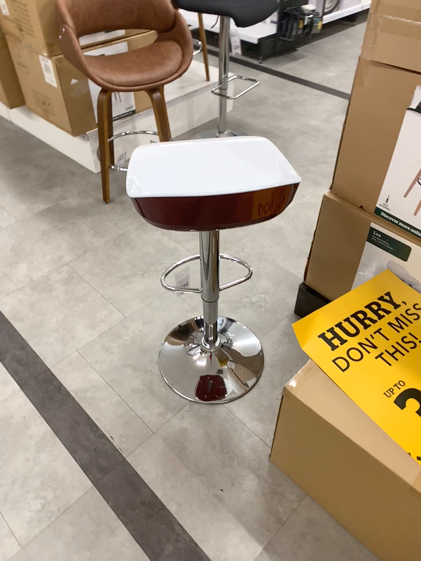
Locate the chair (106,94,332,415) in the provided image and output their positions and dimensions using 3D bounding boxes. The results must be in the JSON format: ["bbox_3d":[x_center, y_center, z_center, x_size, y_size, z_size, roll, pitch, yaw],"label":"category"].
[{"bbox_3d":[-0.009,-0.039,1.242,0.435,0.792,0.438,-7,44,-6],"label":"chair"}]
